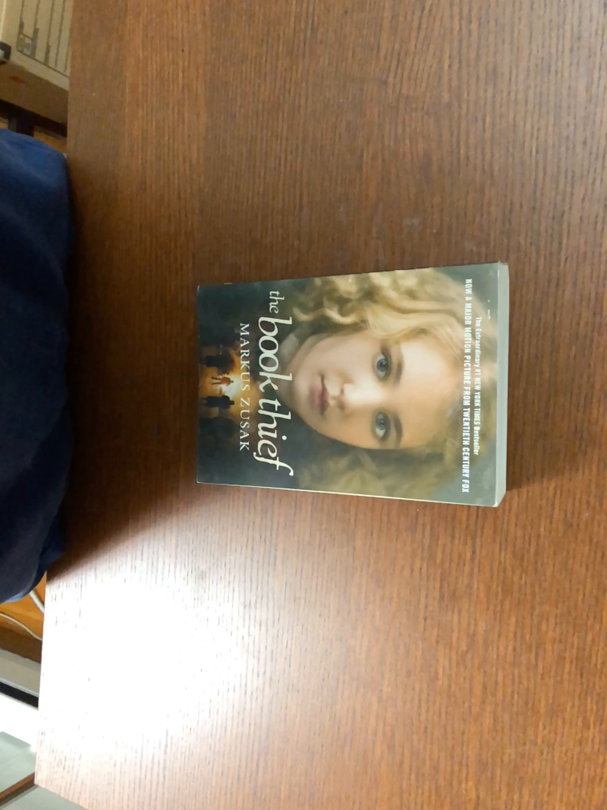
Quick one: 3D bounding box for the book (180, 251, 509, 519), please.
[{"bbox_3d":[0.017,-0.014,0.439,0.220,0.030,0.150,2,92,28],"label":"book"}]
